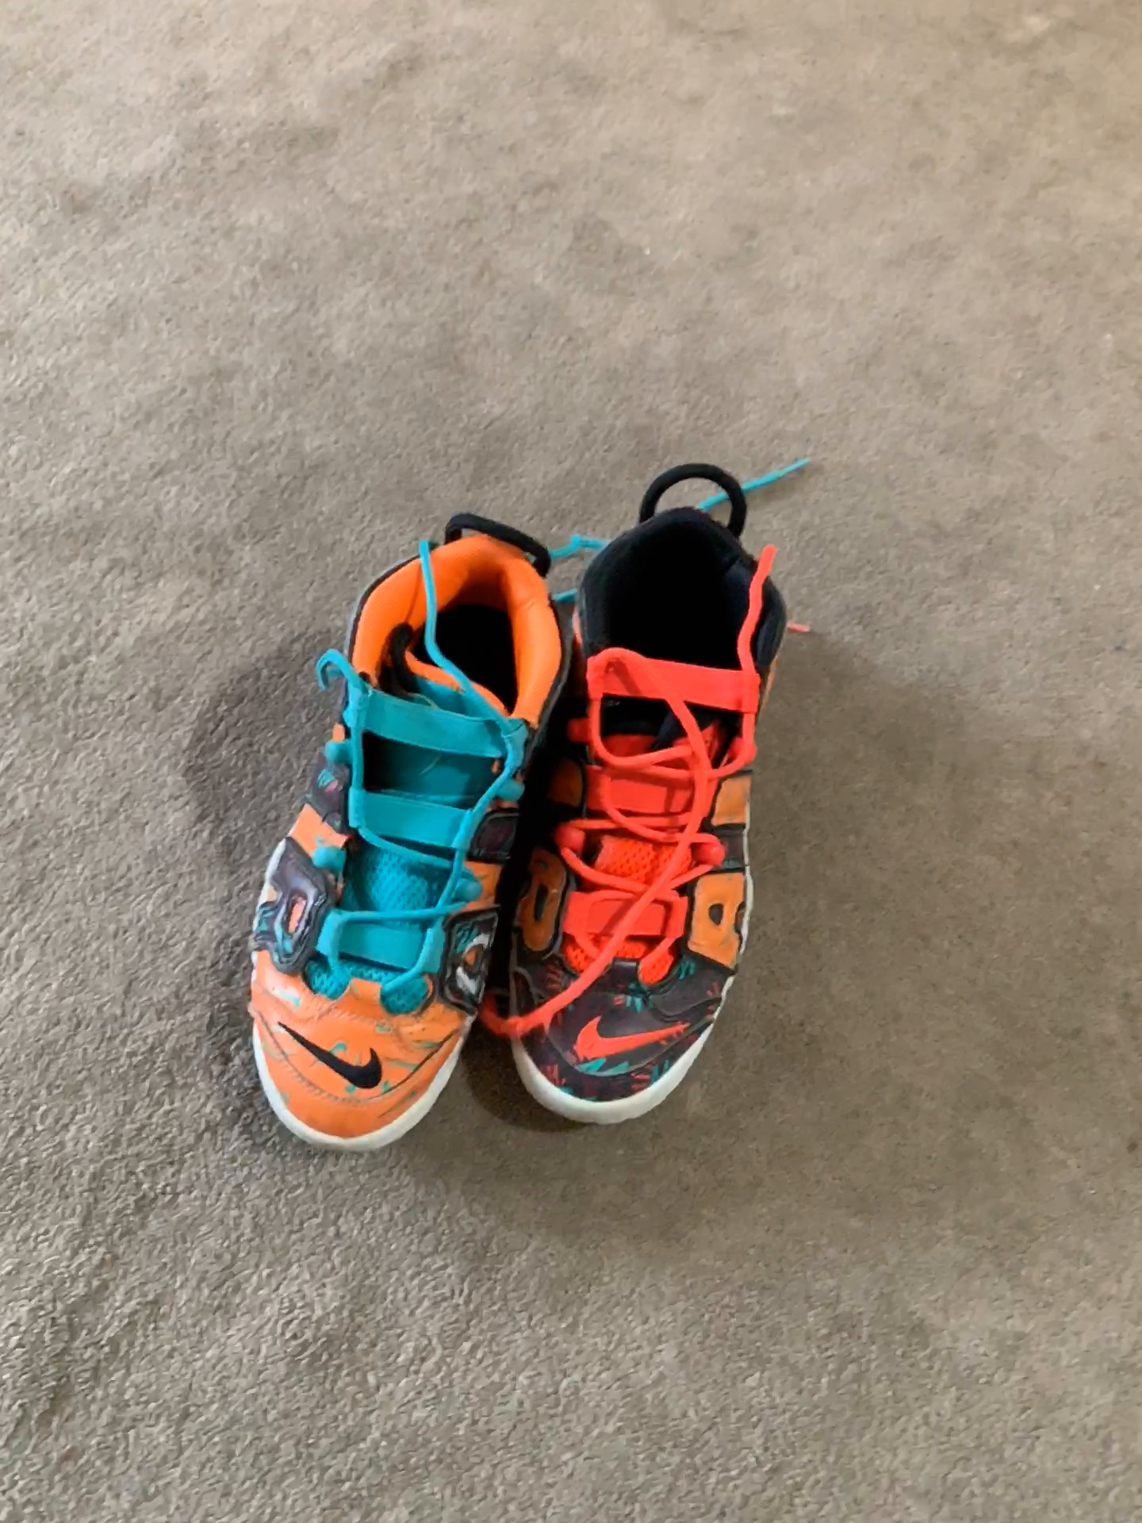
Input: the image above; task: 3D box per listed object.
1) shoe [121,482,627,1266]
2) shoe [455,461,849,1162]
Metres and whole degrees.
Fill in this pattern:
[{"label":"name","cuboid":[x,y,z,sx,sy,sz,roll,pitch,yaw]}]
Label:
[{"label":"shoe","cuboid":[-0.062,0.038,0.443,0.100,0.090,0.251,15,75,1]},{"label":"shoe","cuboid":[0.033,0.021,0.454,0.100,0.110,0.231,9,75,3]}]
